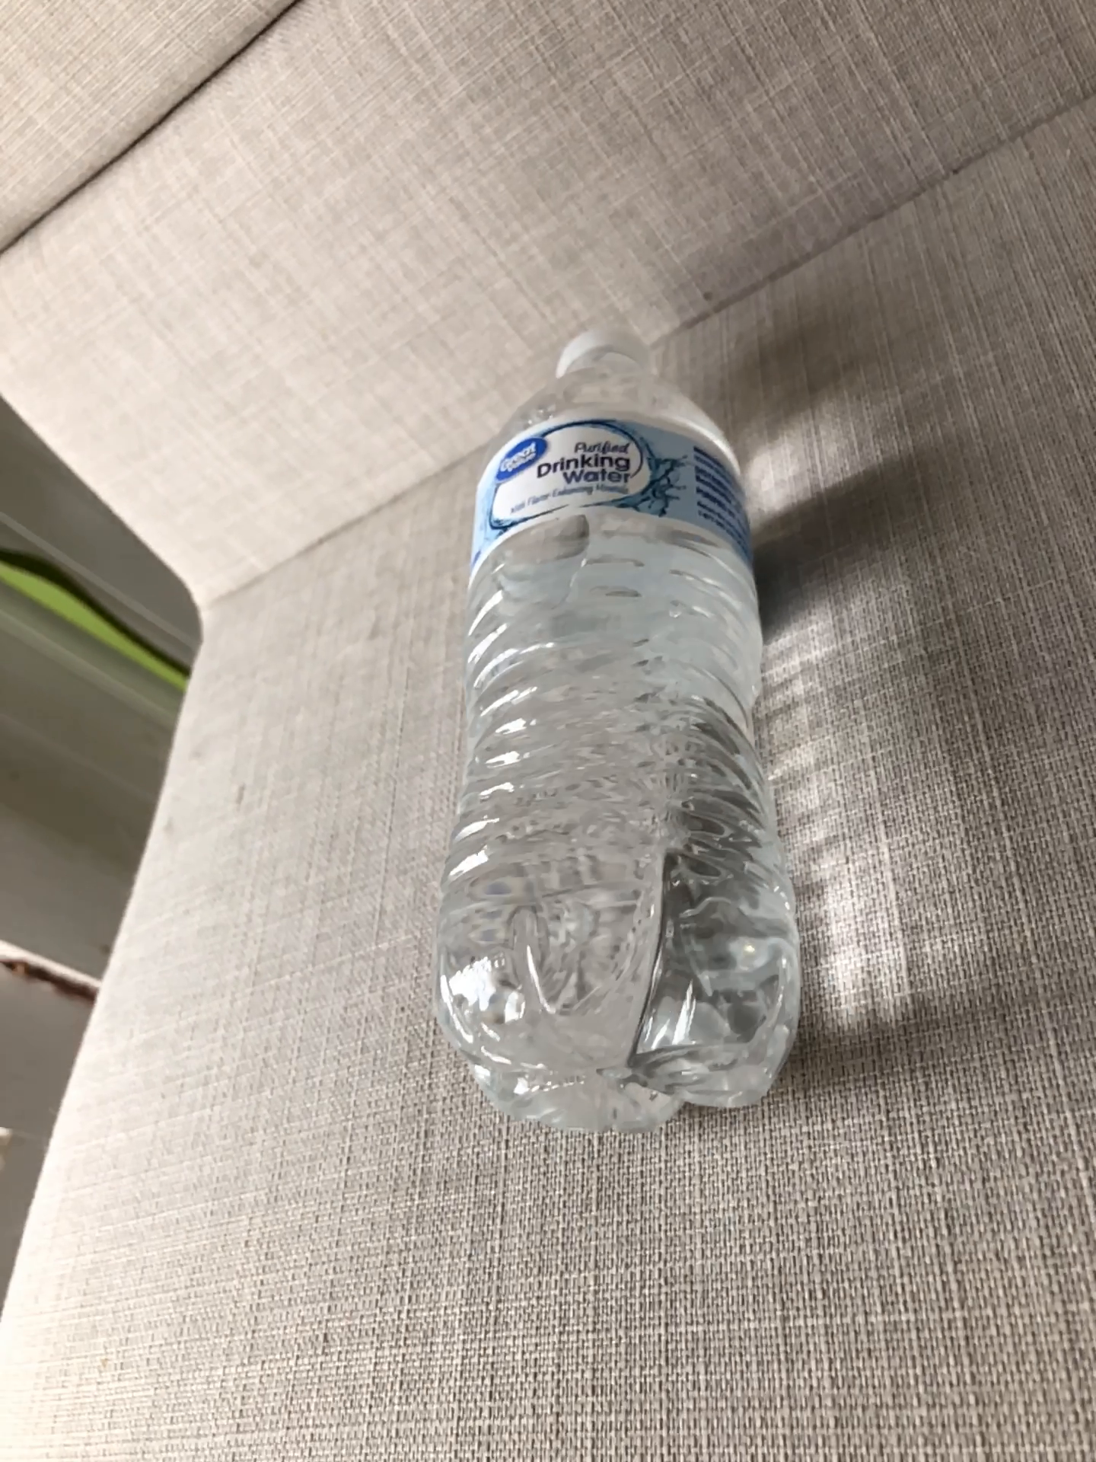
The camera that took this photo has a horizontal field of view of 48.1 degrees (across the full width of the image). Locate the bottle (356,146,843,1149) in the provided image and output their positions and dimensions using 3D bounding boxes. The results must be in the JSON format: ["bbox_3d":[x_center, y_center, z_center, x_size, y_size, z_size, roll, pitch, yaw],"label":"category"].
[{"bbox_3d":[0.011,-0.035,0.279,0.070,0.079,0.232,-2,51,4],"label":"bottle"}]
